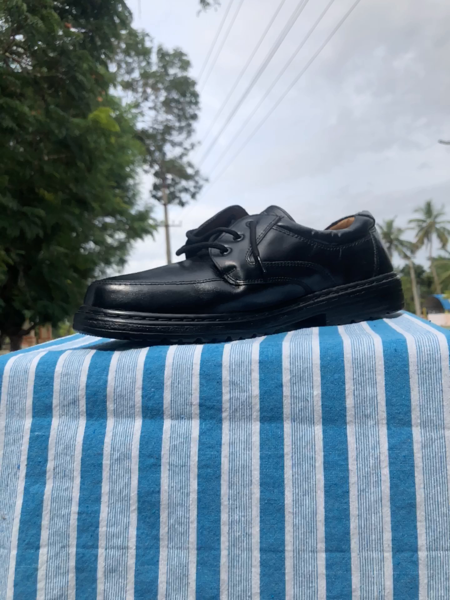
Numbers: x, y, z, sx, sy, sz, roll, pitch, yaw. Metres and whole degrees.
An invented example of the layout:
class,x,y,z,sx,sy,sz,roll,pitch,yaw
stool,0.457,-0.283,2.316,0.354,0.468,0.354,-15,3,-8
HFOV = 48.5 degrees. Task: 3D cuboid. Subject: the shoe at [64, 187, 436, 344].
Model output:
class,x,y,z,sx,sy,sz,roll,pitch,yaw
shoe,0.022,-0.028,0.422,0.290,0.100,0.110,-3,0,-21
